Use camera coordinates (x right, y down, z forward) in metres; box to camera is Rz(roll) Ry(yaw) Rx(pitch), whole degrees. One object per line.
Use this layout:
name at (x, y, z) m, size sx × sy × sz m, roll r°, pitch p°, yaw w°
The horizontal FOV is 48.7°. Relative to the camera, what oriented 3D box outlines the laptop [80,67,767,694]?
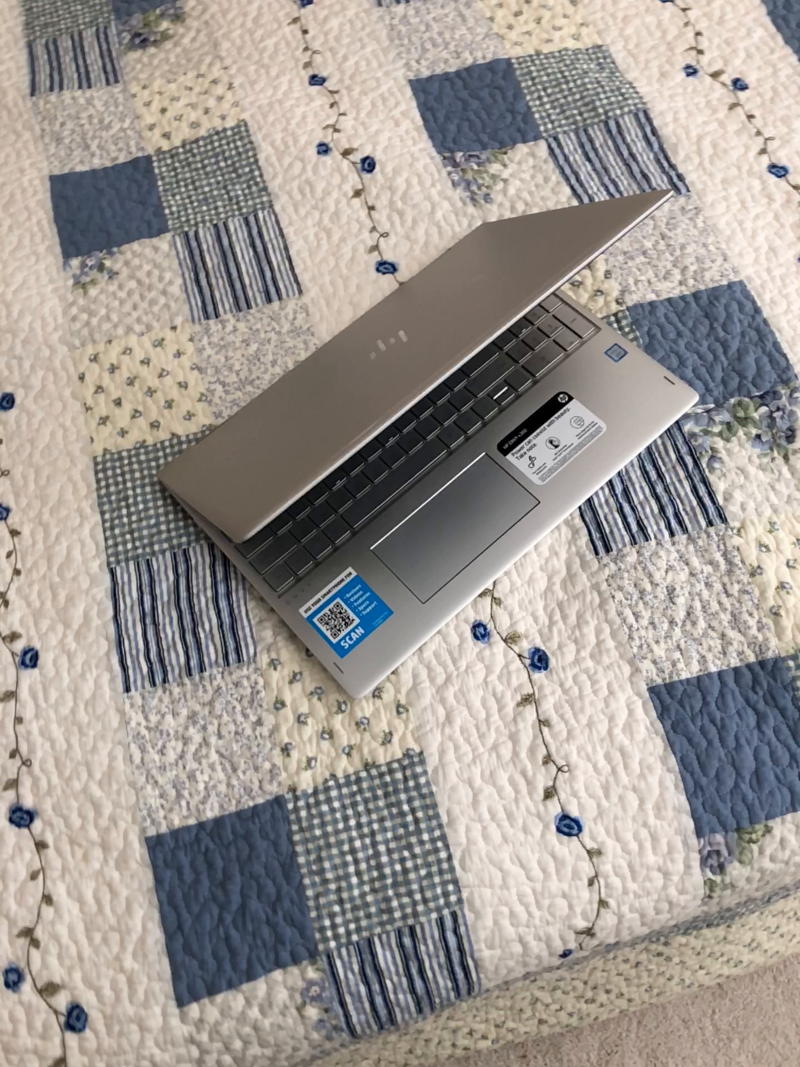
laptop at (0.017, -0.110, 0.613) m, size 0.348 × 0.158 × 0.242 m, roll -40°, pitch 68°, yaw -13°
